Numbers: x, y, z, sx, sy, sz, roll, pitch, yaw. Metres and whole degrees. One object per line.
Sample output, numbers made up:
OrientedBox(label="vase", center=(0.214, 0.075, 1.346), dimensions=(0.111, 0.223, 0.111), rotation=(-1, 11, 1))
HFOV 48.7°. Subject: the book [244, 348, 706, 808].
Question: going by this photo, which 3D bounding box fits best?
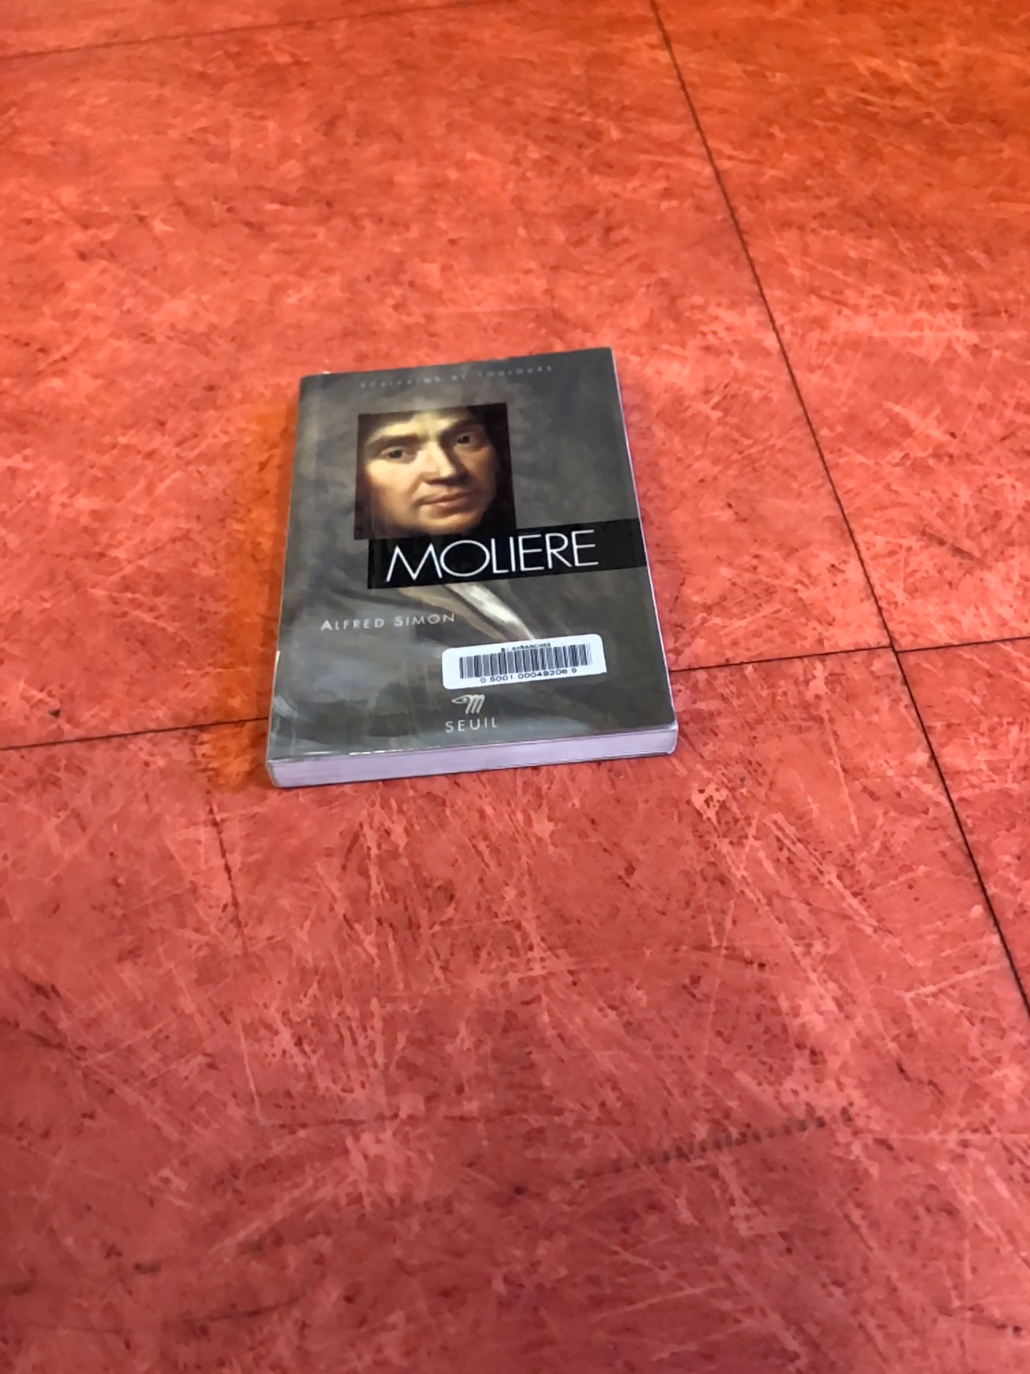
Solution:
OrientedBox(label="book", center=(-0.017, -0.047, 0.390), dimensions=(0.134, 0.015, 0.184), rotation=(-5, 53, 1))
